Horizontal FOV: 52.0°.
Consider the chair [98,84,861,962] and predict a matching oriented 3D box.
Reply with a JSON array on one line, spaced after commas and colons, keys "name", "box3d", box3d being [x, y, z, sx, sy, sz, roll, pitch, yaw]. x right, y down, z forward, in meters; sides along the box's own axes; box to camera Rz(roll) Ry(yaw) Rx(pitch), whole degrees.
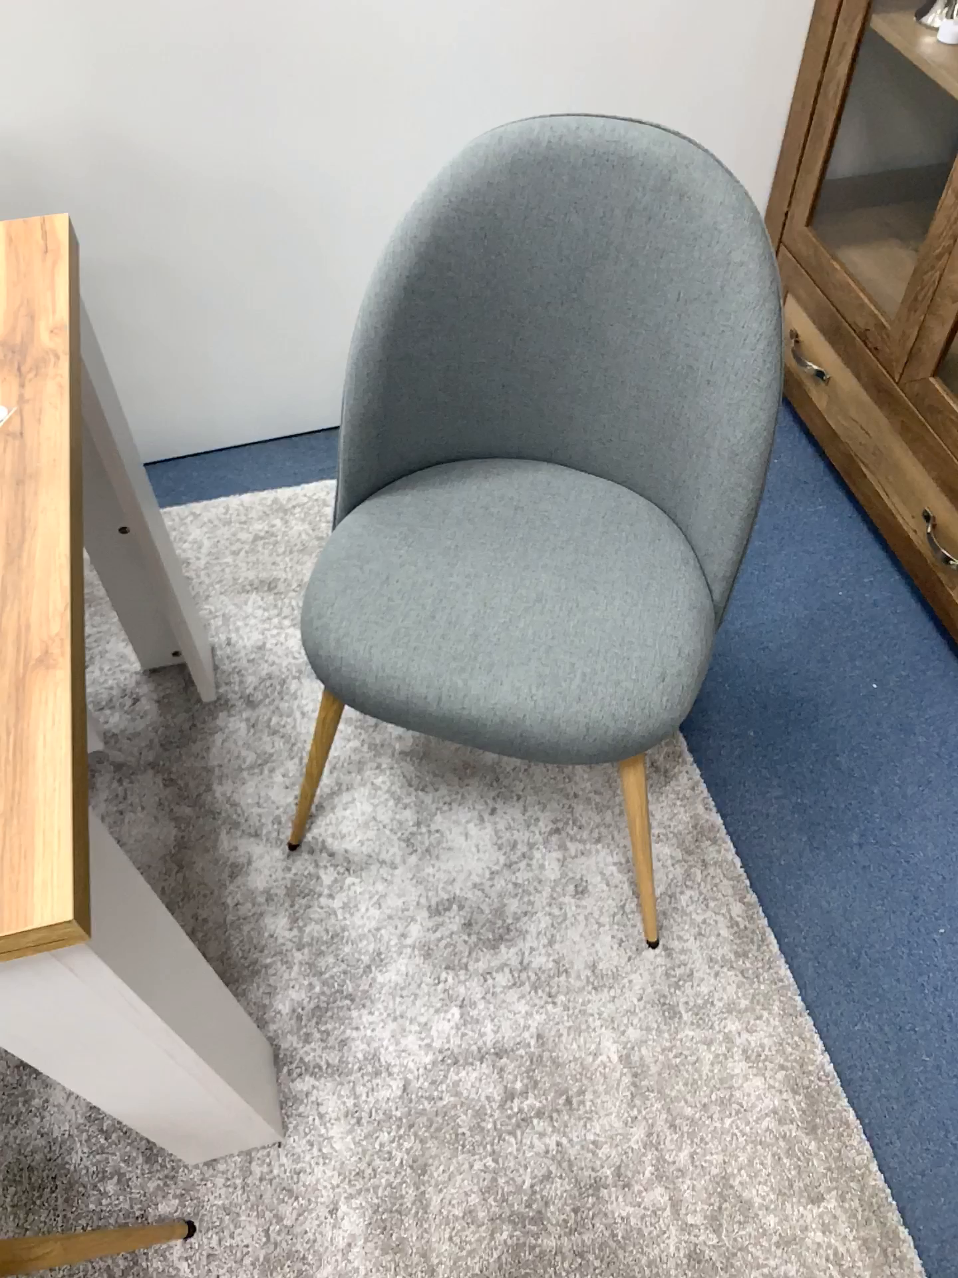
[{"name": "chair", "box3d": [0.053, -0.098, 1.130, 0.530, 0.737, 0.572, 11, 53, 9]}]
